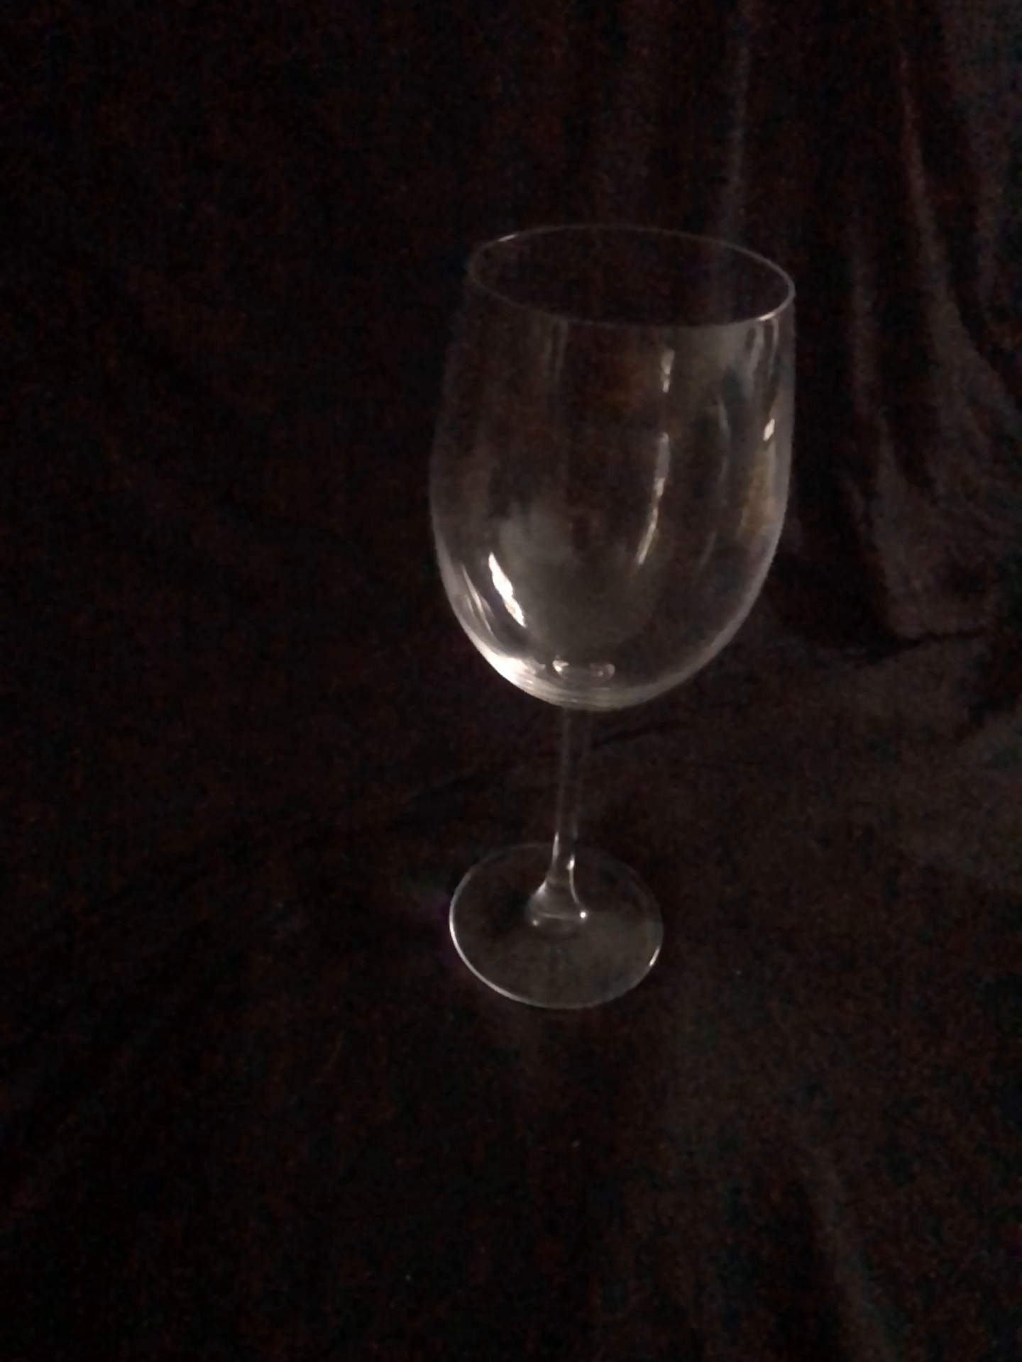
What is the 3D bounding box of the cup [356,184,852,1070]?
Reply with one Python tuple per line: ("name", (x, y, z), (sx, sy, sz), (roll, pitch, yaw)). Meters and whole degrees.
("cup", (0.024, -0.004, 0.374), (0.103, 0.266, 0.101), (2, 40, -1))
